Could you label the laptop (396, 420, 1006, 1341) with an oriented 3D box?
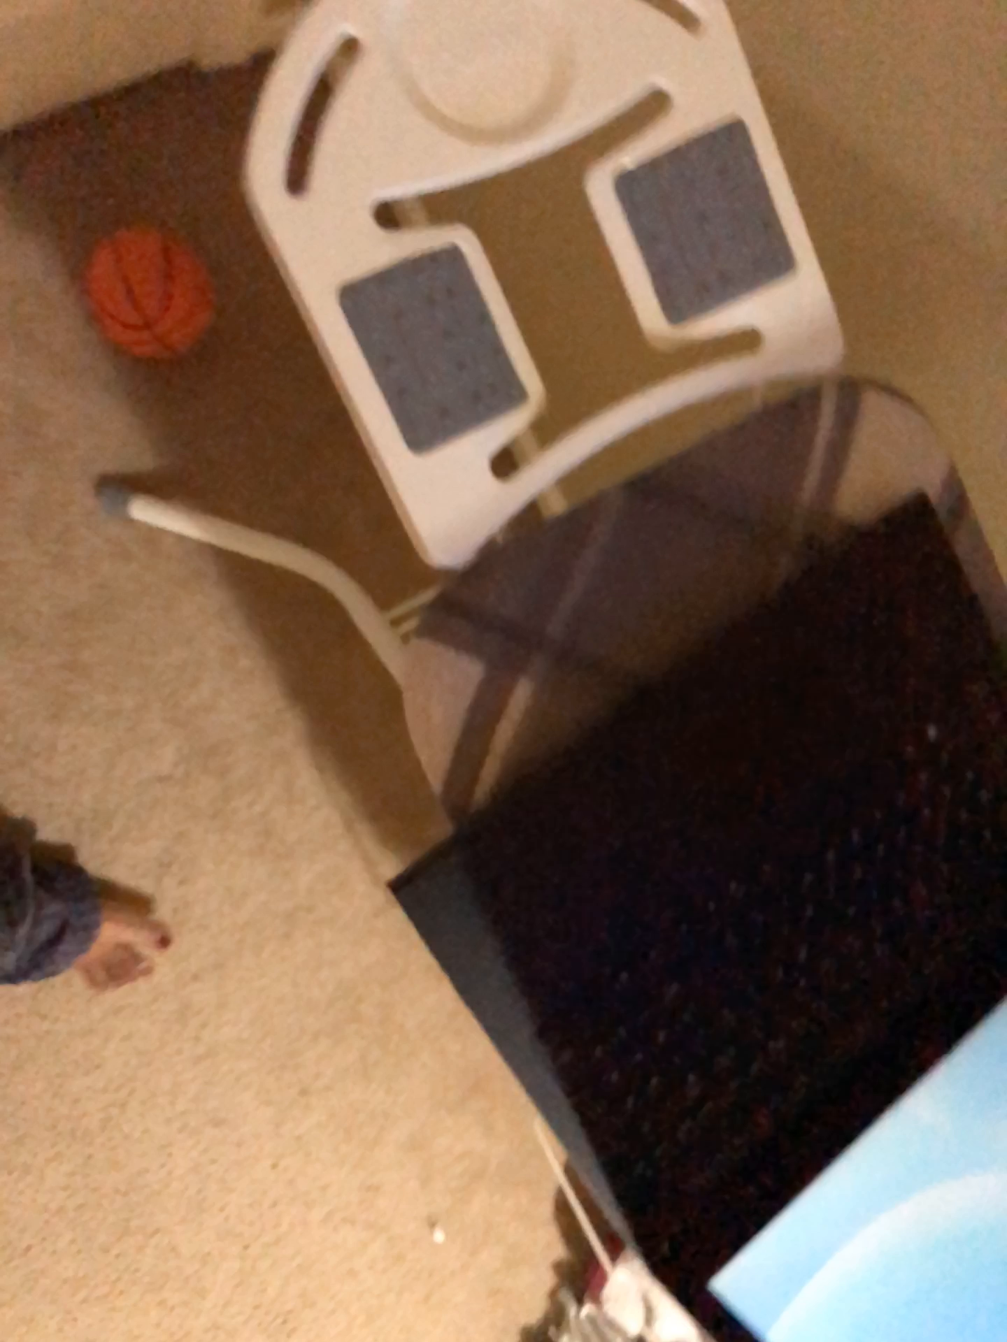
[{"bbox_3d":[0.191,0.108,0.481,0.352,0.231,0.247,-35,103,-16],"label":"laptop"}]
